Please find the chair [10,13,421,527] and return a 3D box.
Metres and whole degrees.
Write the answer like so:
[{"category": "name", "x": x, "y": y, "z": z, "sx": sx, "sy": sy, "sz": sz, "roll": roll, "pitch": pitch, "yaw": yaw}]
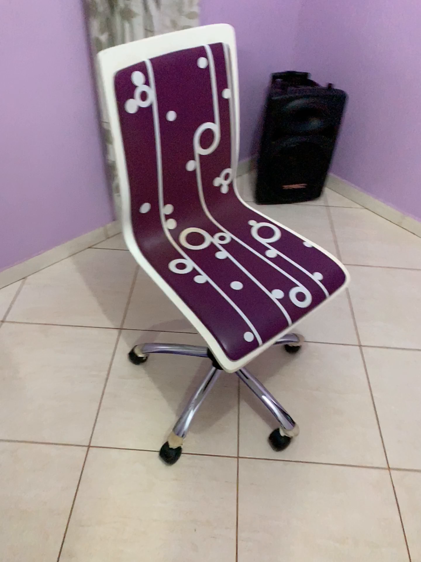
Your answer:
[{"category": "chair", "x": 0.069, "y": -0.021, "z": 1.131, "sx": 0.688, "sy": 1.005, "sz": 0.623, "roll": -27, "pitch": 51, "yaw": -28}]
